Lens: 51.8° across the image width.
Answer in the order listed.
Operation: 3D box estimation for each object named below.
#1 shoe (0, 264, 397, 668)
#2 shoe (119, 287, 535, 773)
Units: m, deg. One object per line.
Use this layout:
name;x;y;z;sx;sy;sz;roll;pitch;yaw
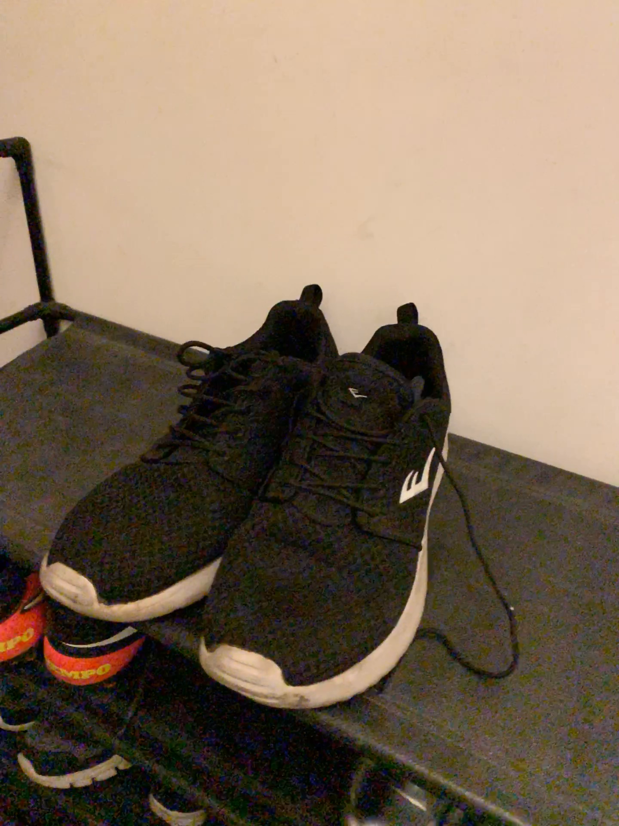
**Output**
shoe;-0.056;0.002;0.430;0.110;0.099;0.302;19;36;22
shoe;0.038;0.030;0.392;0.120;0.099;0.302;18;35;21
